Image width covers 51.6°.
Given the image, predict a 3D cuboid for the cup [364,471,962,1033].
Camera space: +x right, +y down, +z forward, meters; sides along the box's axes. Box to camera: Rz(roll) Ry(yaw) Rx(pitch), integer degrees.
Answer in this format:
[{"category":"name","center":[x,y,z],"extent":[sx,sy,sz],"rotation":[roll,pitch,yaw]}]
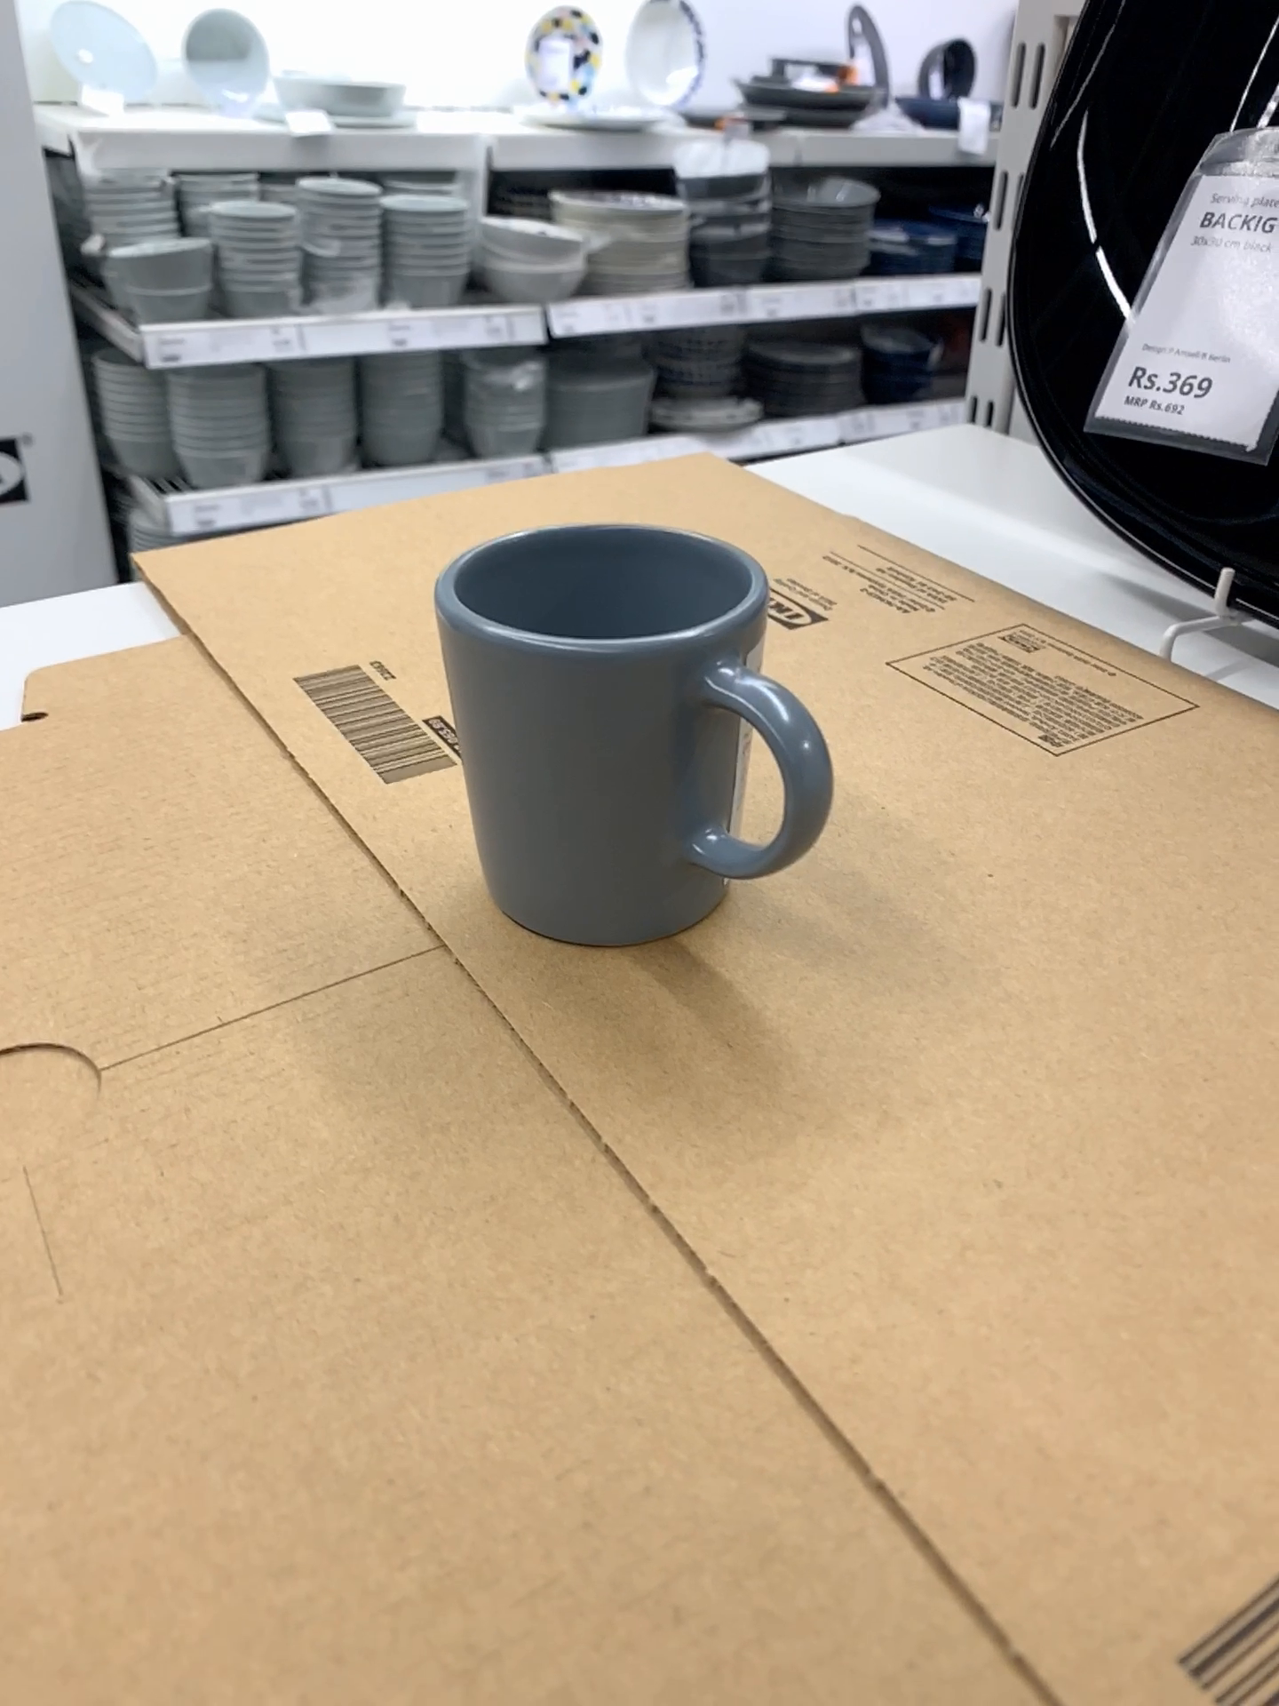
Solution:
[{"category":"cup","center":[0.002,-0.024,0.235],"extent":[0.080,0.060,0.060],"rotation":[29,40,36]}]
